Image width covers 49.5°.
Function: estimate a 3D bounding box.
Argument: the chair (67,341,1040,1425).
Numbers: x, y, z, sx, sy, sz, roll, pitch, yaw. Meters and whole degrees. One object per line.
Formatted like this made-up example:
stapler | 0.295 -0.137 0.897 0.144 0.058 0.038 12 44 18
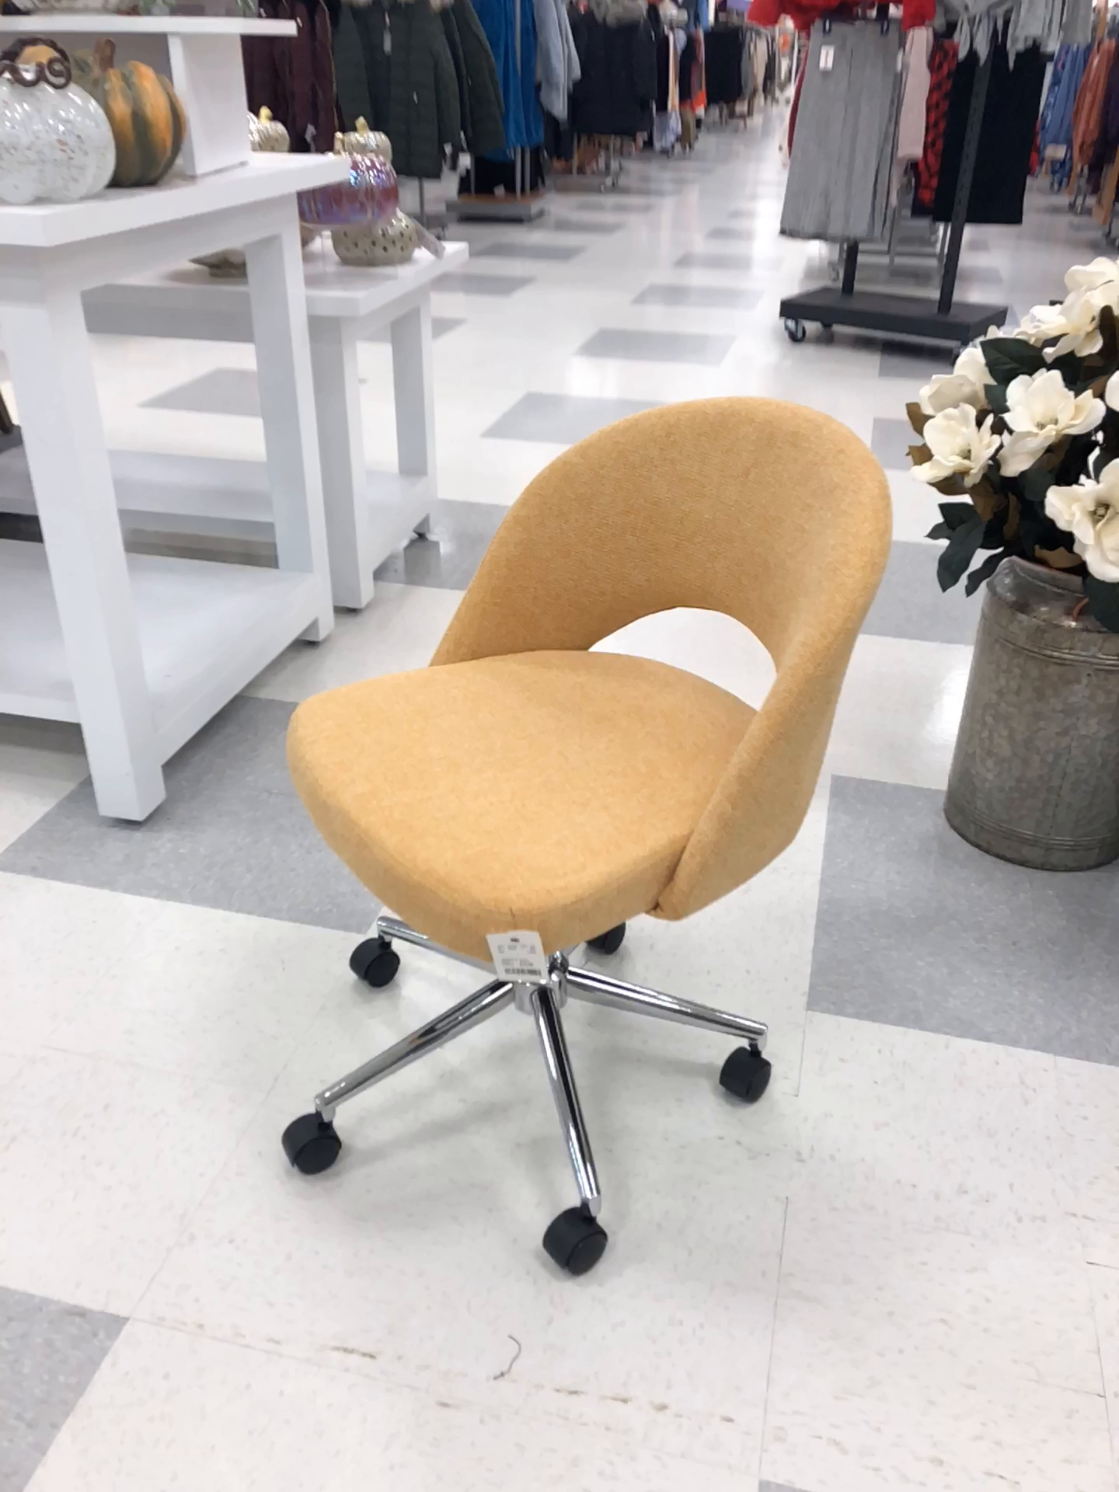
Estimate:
chair | -0.036 0.058 1.238 0.636 0.749 0.583 -17 34 -28
